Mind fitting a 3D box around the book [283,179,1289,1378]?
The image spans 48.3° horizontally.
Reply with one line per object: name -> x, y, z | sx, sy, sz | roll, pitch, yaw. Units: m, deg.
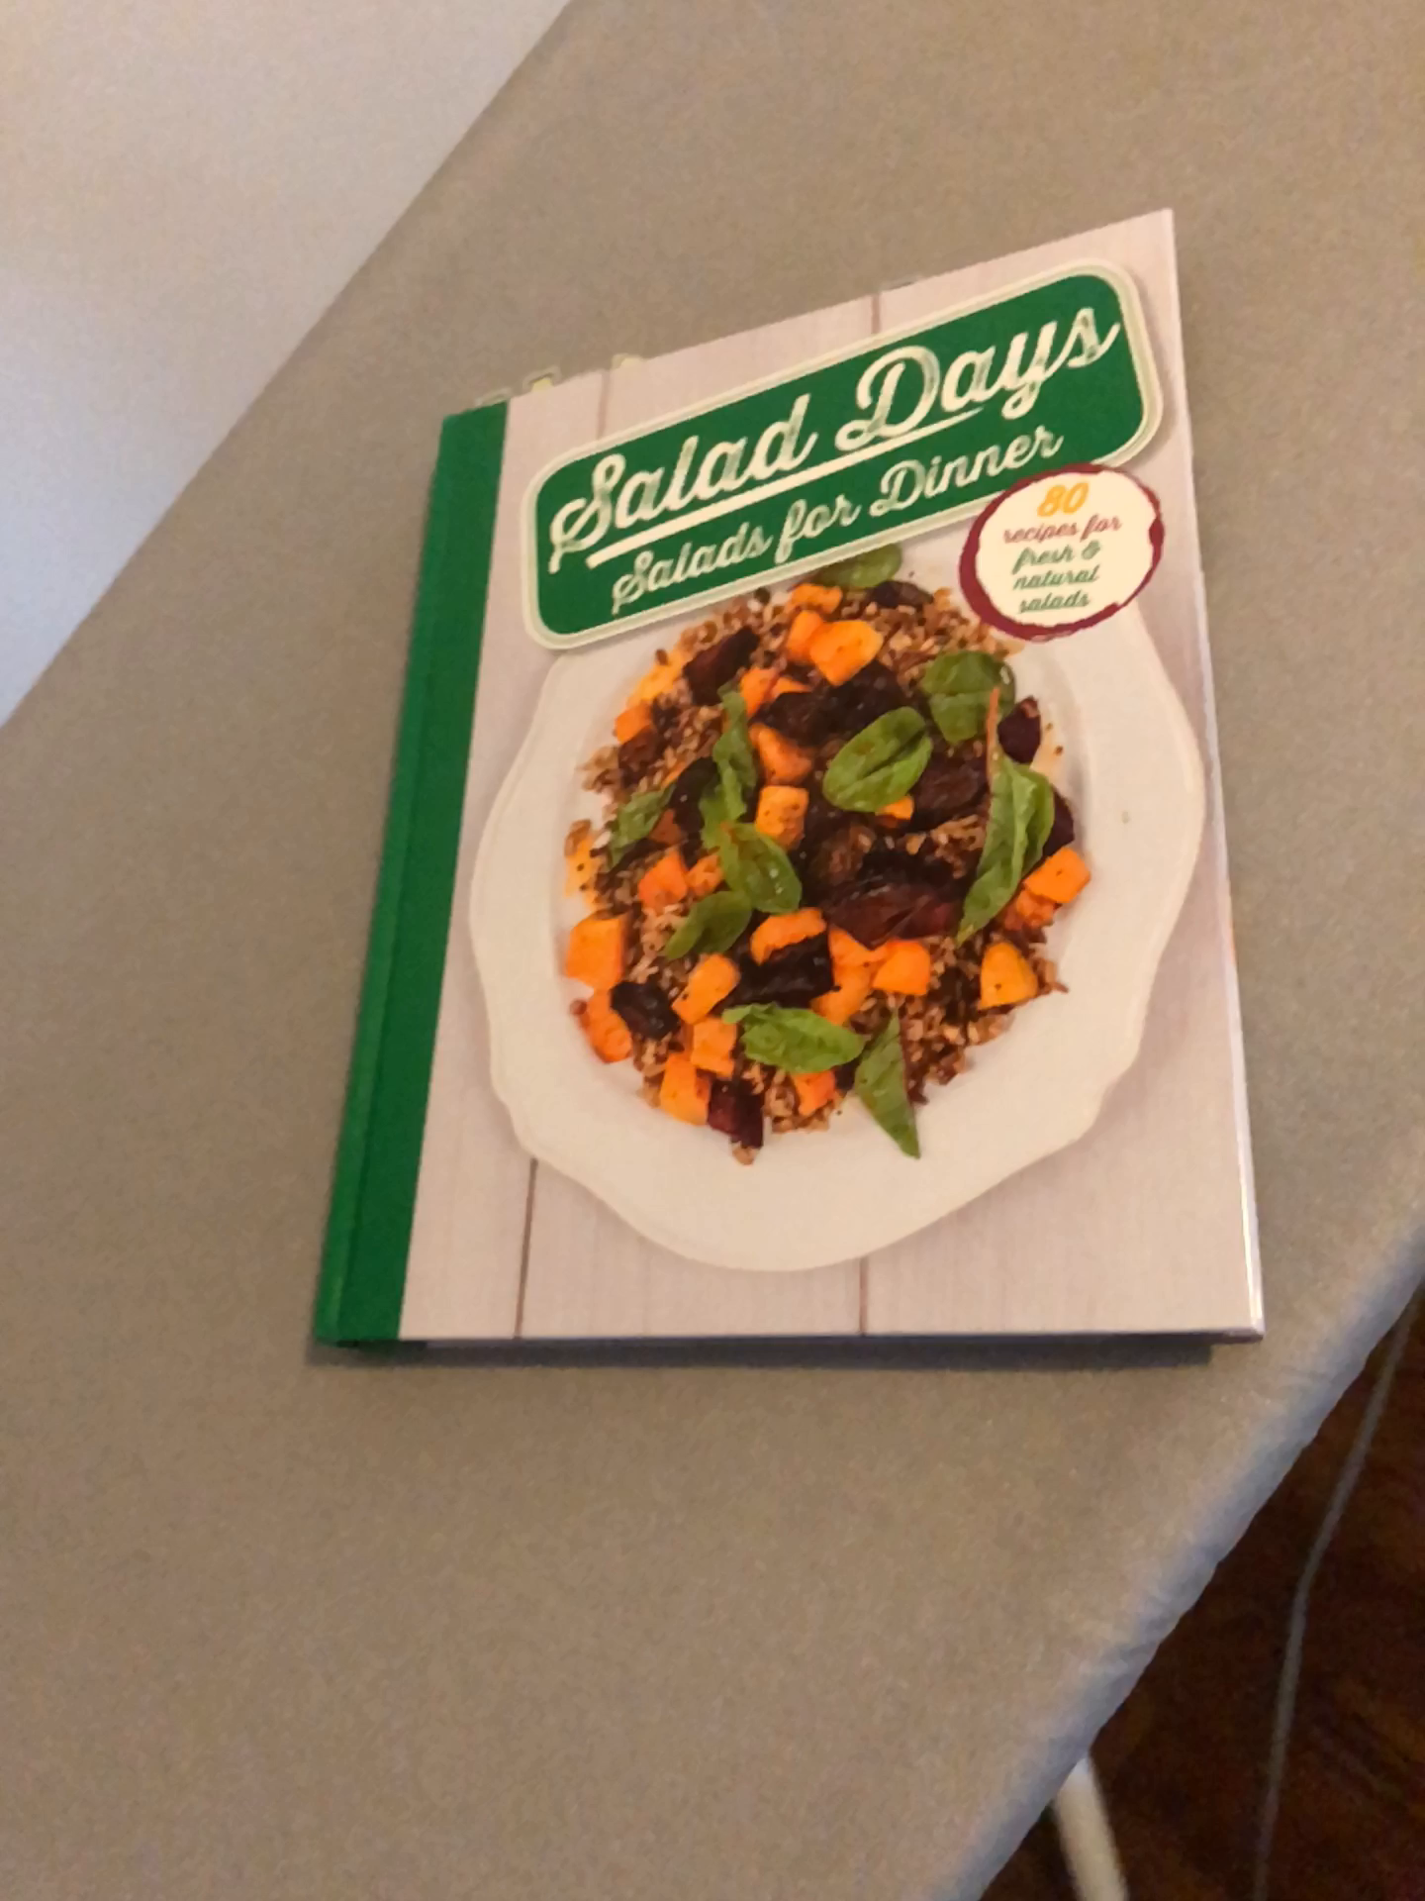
book -> 0.012, -0.041, 0.377 | 0.214, 0.020, 0.275 | -7, 66, 23
